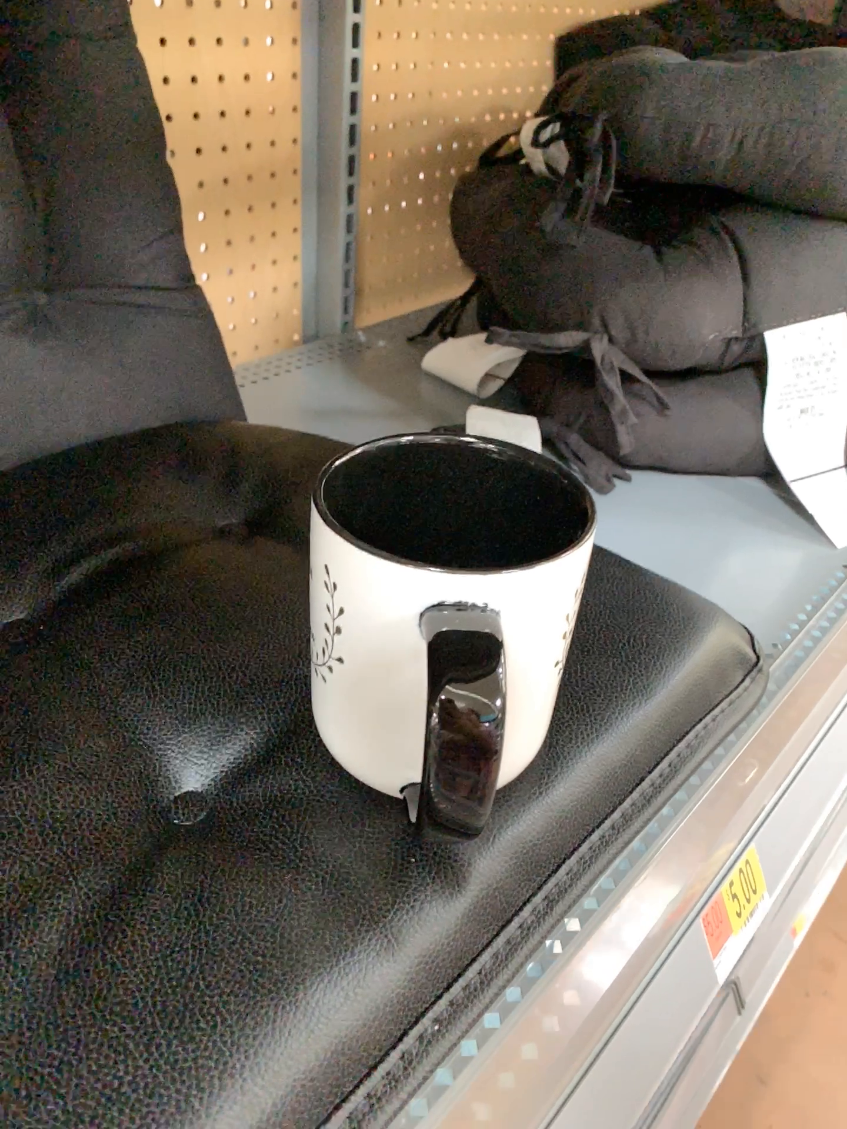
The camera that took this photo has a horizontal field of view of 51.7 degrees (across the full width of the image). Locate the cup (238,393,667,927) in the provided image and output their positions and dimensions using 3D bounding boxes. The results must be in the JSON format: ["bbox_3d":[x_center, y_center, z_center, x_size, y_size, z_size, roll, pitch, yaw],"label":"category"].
[{"bbox_3d":[0.009,0.023,0.294,0.101,0.104,0.142,4,35,2],"label":"cup"}]
